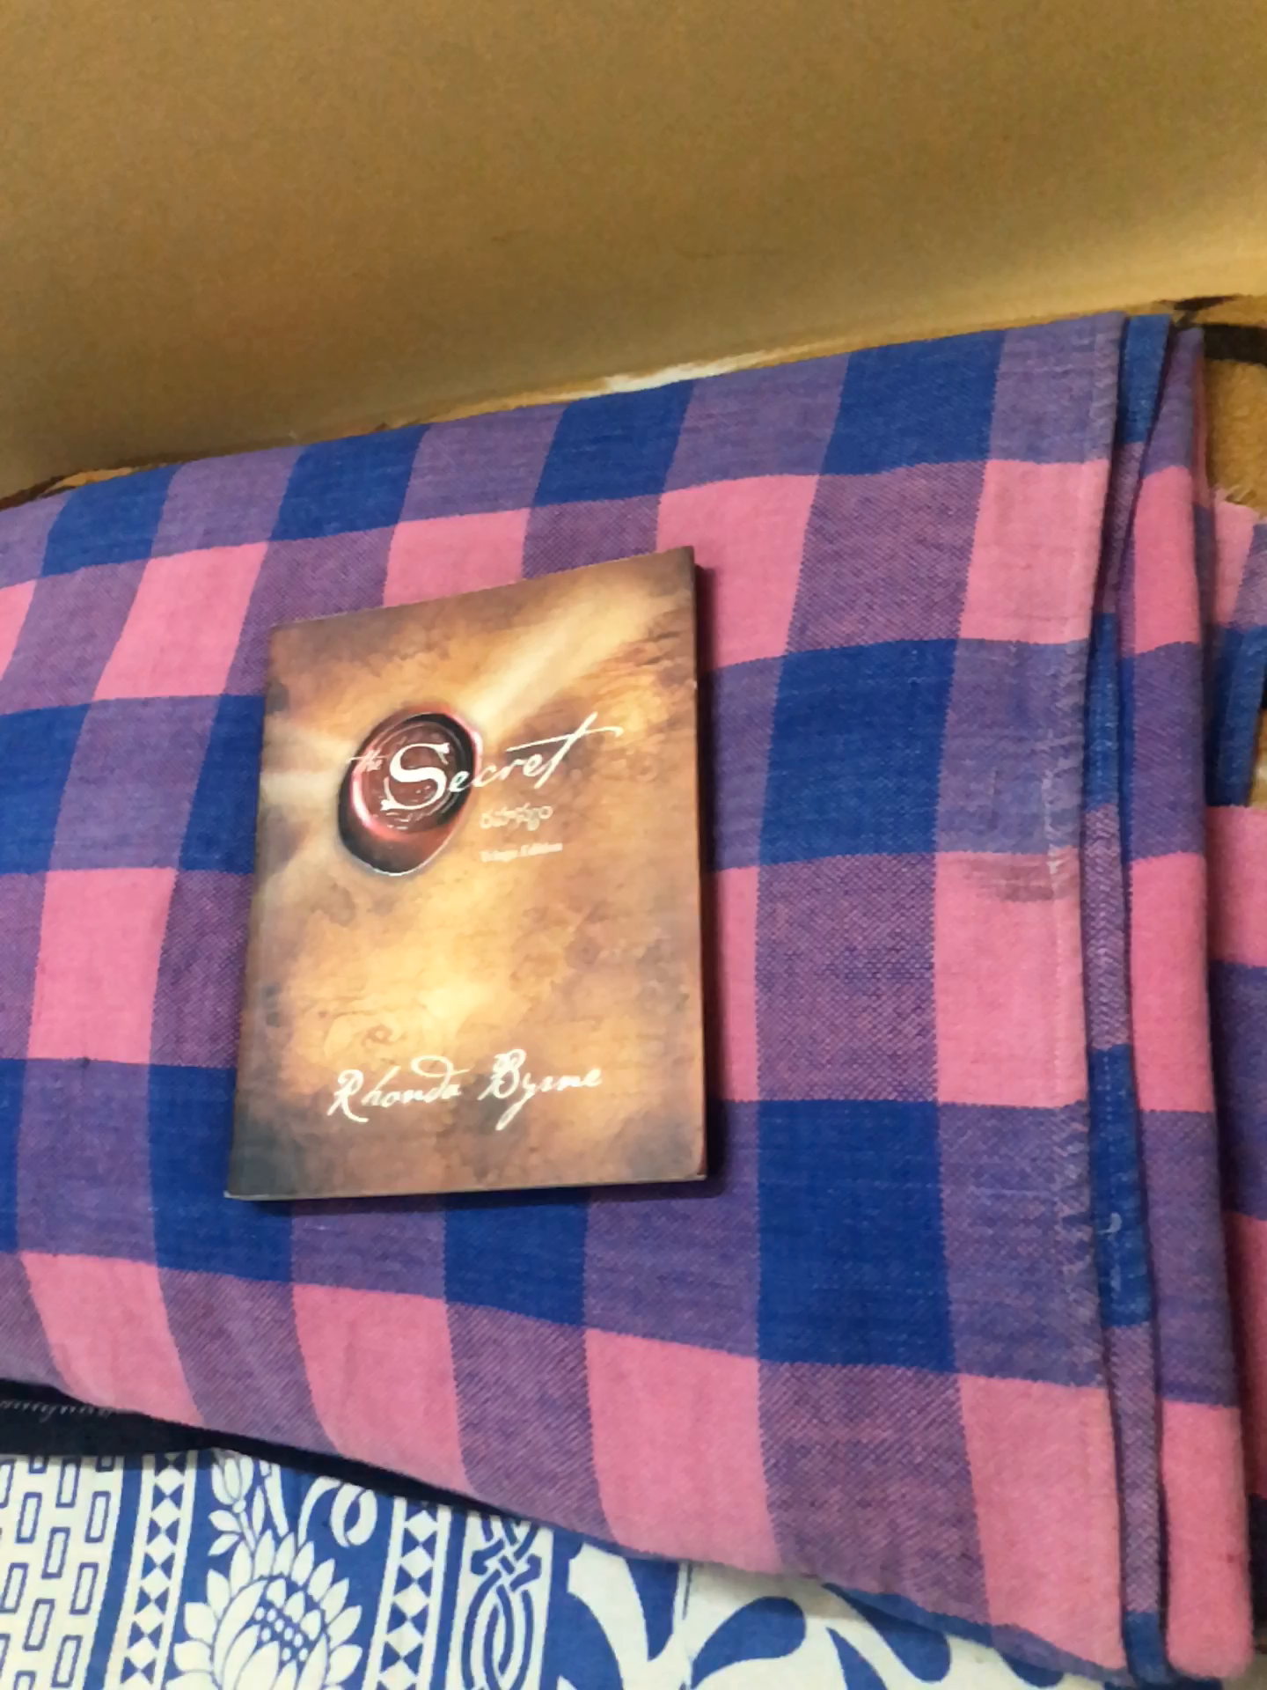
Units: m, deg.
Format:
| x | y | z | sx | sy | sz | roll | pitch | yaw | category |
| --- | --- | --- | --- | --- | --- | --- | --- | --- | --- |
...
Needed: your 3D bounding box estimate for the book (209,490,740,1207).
| x | y | z | sx | sy | sz | roll | pitch | yaw | category |
| --- | --- | --- | --- | --- | --- | --- | --- | --- | --- |
| -0.044 | 0.003 | 0.399 | 0.150 | 0.020 | 0.190 | -8 | 68 | 24 | book |
